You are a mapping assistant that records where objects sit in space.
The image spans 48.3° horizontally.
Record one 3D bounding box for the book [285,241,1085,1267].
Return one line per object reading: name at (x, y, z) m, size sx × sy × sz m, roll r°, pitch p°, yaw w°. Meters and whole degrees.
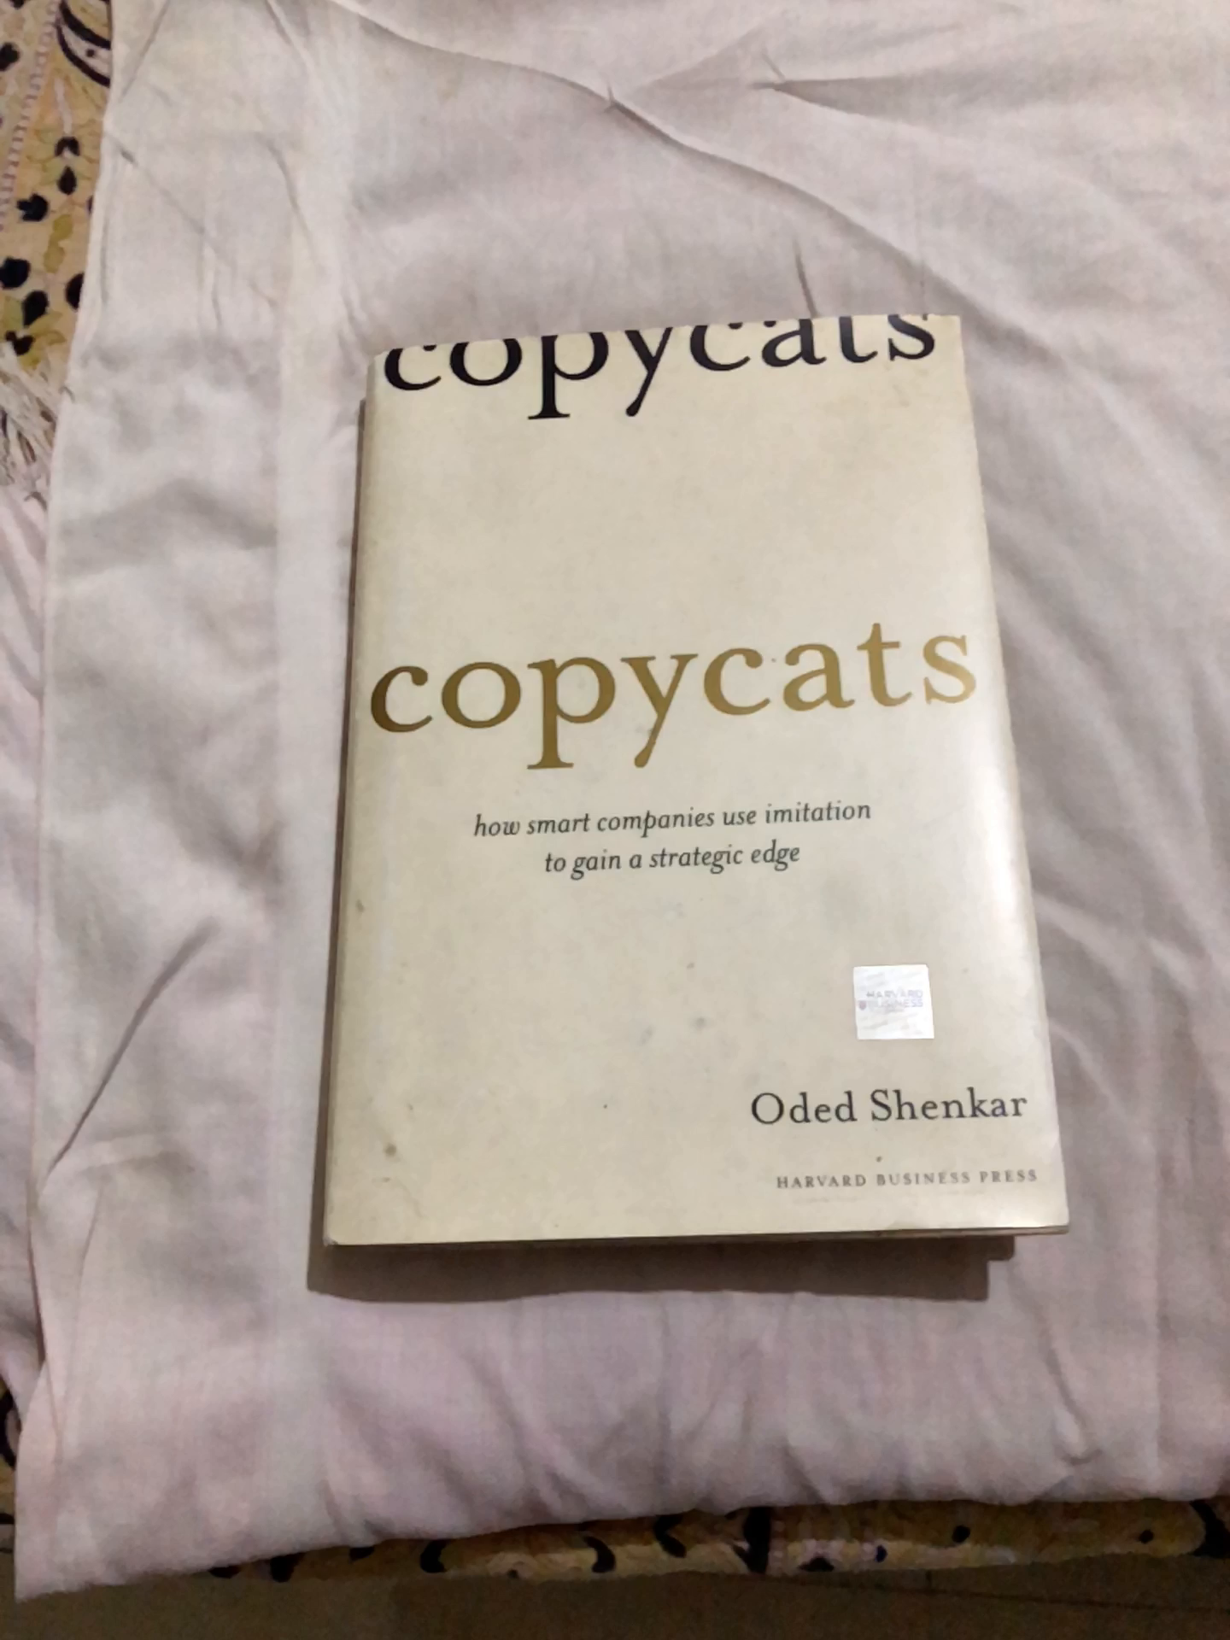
book at (0.012, -0.020, 0.314) m, size 0.150 × 0.040 × 0.230 m, roll -3°, pitch 70°, yaw 6°
